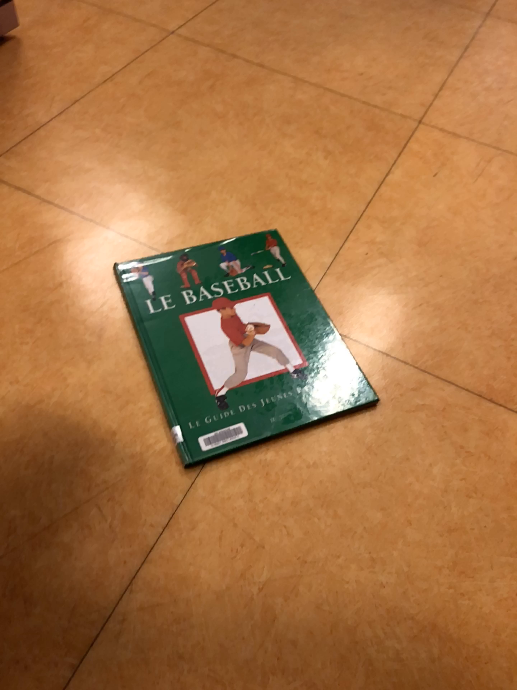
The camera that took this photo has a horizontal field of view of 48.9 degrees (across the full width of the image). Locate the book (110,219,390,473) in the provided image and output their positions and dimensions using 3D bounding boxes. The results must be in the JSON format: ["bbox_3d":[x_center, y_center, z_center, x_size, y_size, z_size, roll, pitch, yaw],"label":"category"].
[{"bbox_3d":[-0.020,-0.021,0.632,0.220,0.020,0.281,-15,56,-17],"label":"book"}]
